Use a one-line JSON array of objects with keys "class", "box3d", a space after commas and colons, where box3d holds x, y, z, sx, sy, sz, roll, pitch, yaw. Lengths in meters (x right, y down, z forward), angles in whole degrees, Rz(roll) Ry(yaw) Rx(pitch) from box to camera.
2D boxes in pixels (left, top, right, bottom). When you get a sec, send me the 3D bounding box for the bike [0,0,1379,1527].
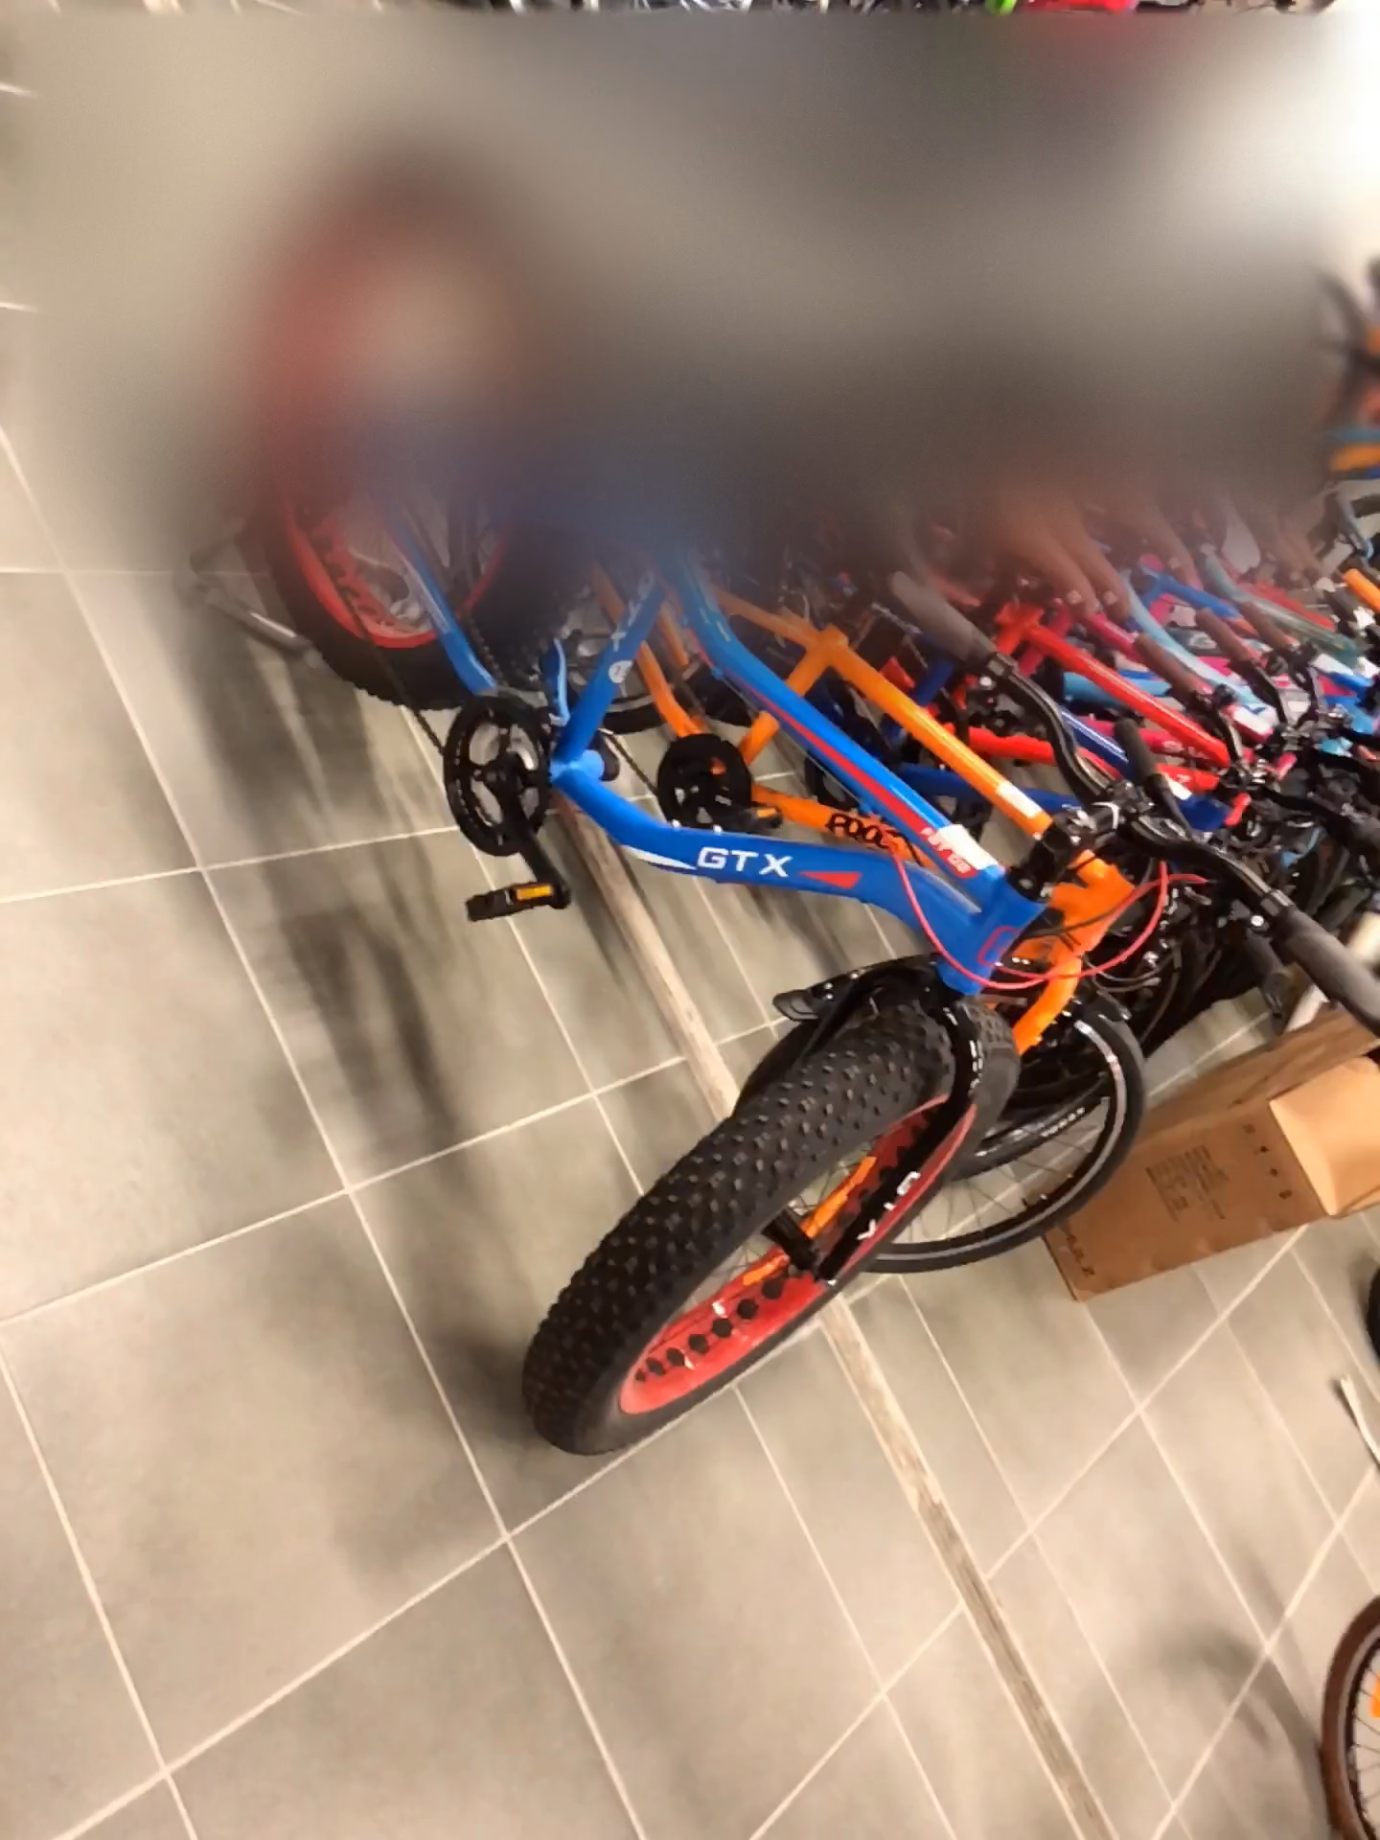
[{"class": "bike", "box3d": [-0.108, -0.303, 1.659, 0.617, 1.023, 1.467, -15, 75, -52]}]
